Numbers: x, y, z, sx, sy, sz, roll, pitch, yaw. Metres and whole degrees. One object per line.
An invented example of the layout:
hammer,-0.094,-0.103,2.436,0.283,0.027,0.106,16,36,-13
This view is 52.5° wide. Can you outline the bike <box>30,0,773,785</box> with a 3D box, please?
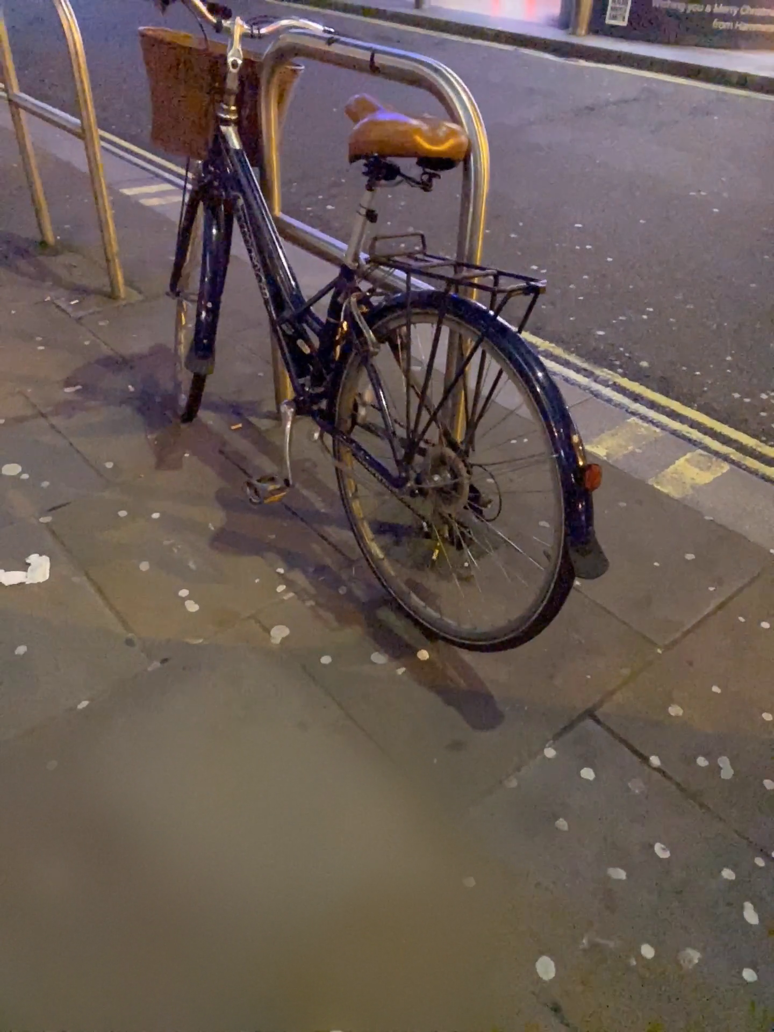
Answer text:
bike,-0.126,-0.485,1.775,0.661,1.063,1.716,-21,42,-27
